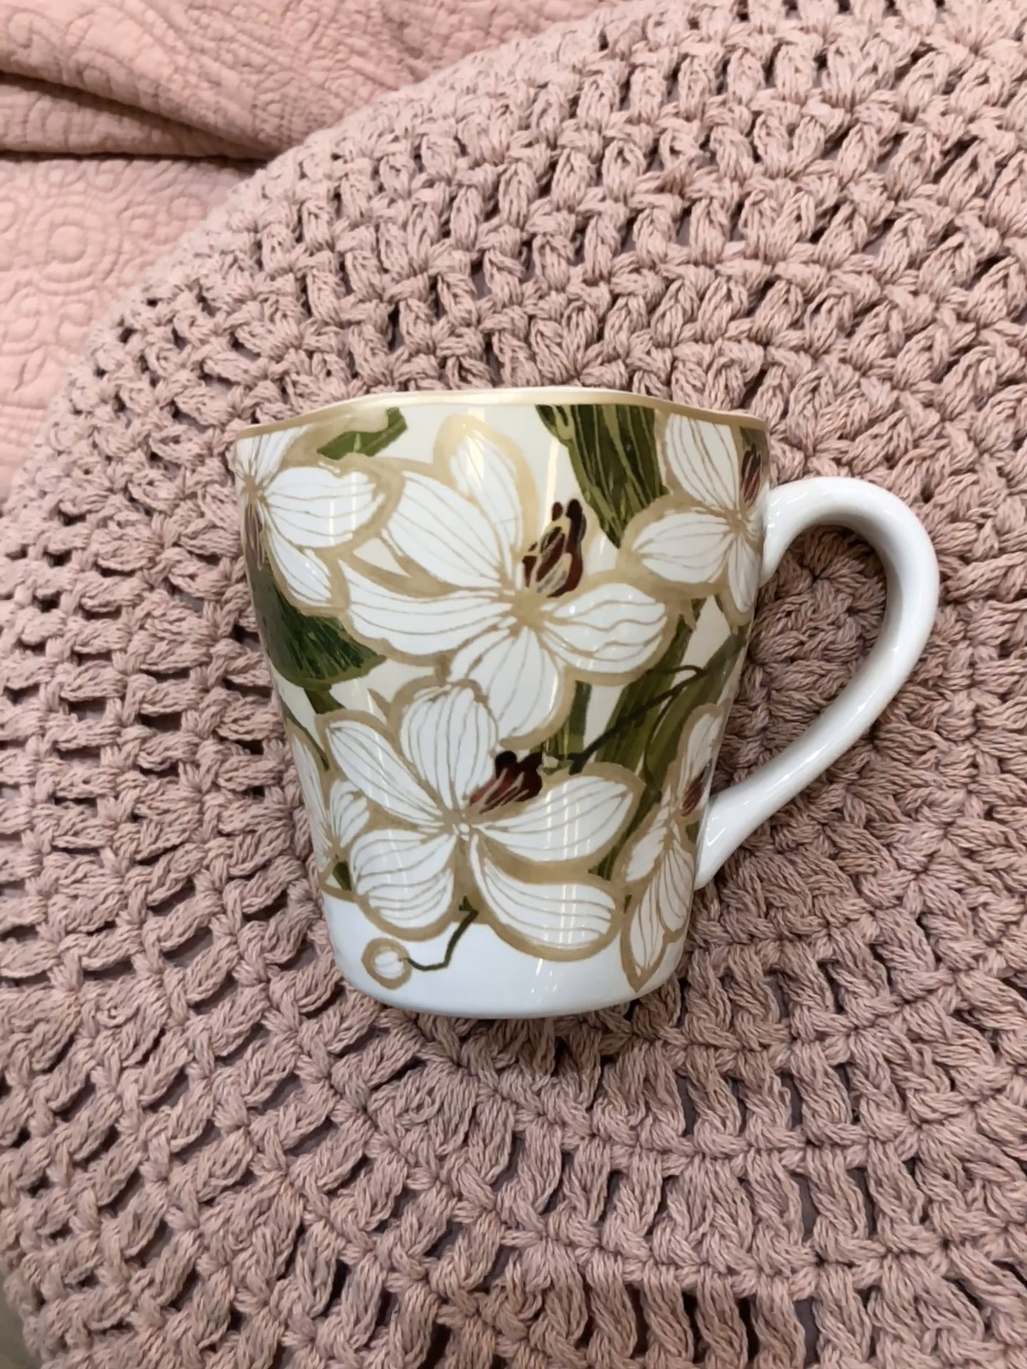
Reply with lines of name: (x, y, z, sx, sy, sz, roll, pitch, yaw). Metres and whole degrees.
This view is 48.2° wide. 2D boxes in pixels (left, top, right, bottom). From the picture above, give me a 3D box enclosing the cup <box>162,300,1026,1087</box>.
cup: (0.018, 0.001, 0.228, 0.140, 0.090, 0.120, -2, 93, 2)
